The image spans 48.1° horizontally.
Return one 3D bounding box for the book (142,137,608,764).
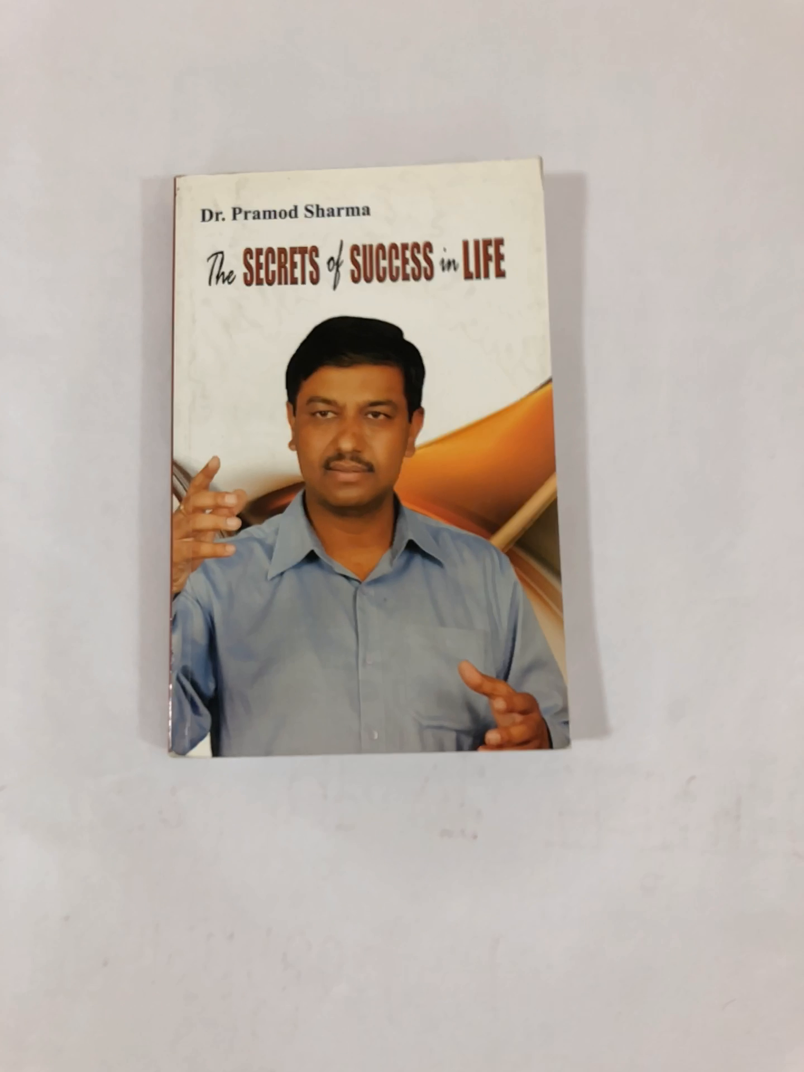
[{"bbox_3d":[-0.013,-0.032,0.315,0.150,0.020,0.210,-2,82,1],"label":"book"}]
